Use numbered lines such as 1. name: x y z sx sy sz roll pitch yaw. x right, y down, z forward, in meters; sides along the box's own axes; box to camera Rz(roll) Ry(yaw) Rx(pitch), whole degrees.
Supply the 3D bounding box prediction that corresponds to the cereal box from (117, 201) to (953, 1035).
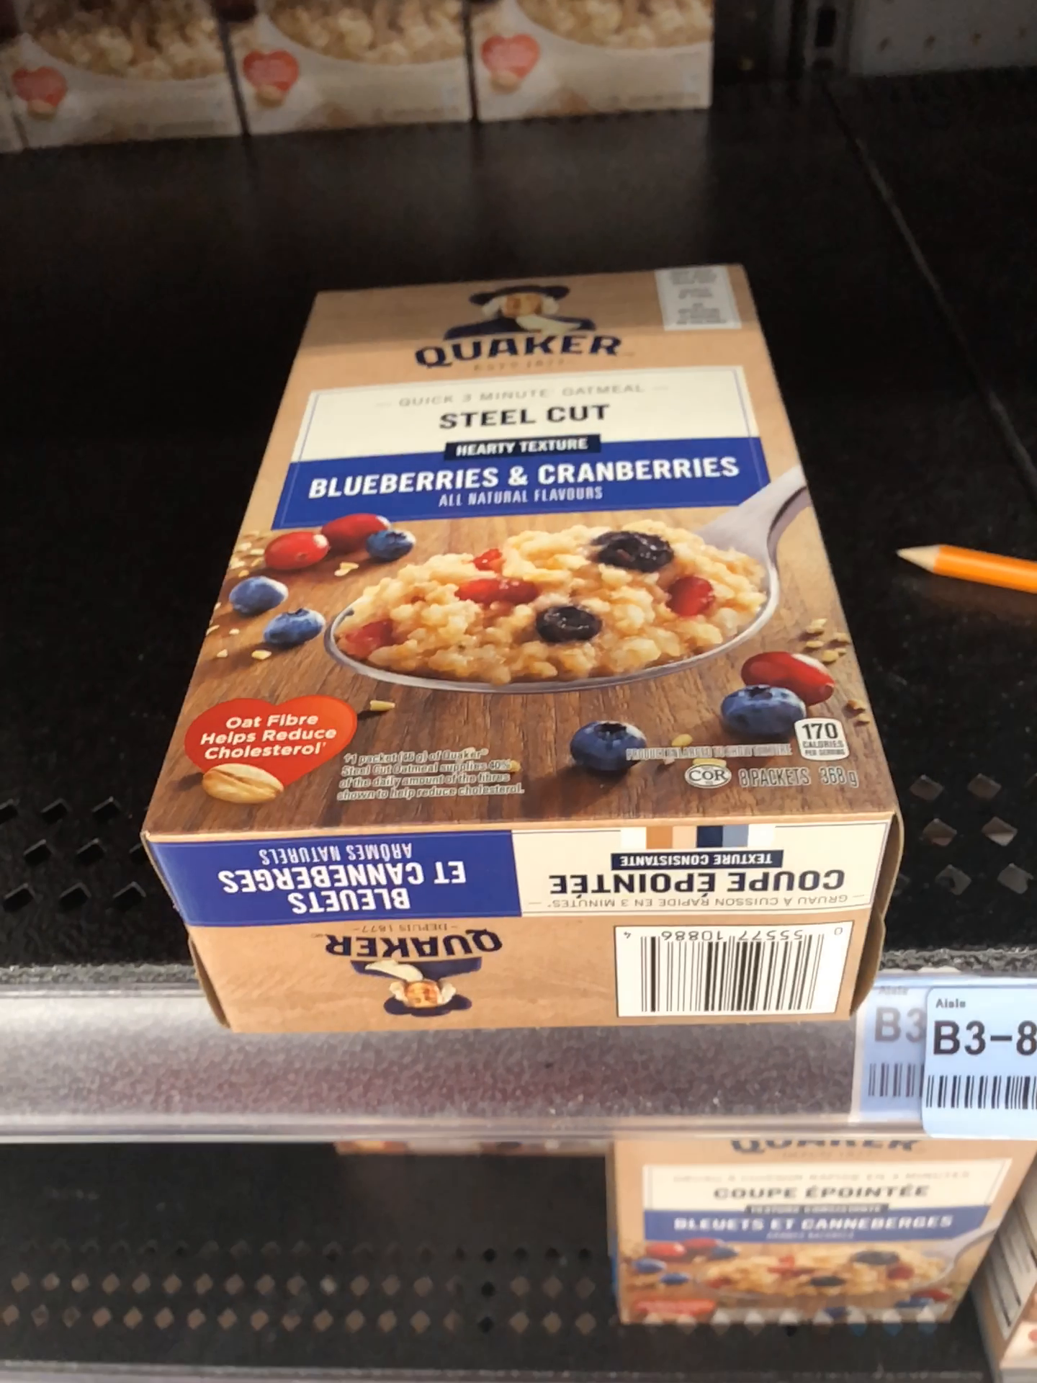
1. cereal box: 0.006 -0.041 0.289 0.130 0.060 0.241 -2 43 4
